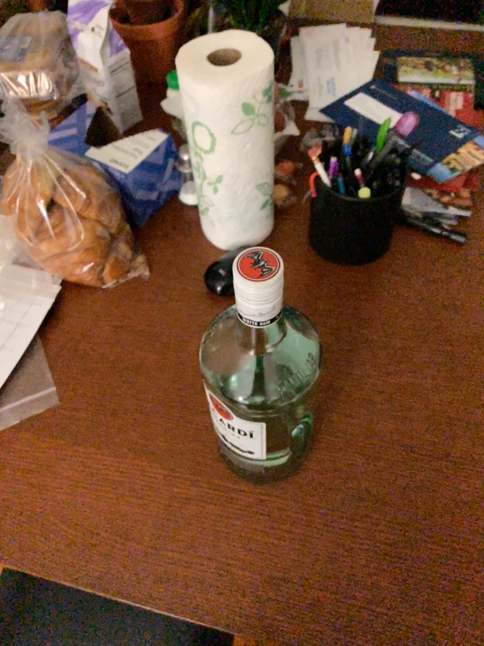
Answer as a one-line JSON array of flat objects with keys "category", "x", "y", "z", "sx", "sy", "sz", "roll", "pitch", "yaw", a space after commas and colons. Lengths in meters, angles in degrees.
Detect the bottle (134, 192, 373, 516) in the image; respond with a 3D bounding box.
[{"category": "bottle", "x": 0.015, "y": 0.058, "z": 0.491, "sx": 0.120, "sy": 0.329, "sz": 0.120, "roll": -2, "pitch": 55, "yaw": 2}]
